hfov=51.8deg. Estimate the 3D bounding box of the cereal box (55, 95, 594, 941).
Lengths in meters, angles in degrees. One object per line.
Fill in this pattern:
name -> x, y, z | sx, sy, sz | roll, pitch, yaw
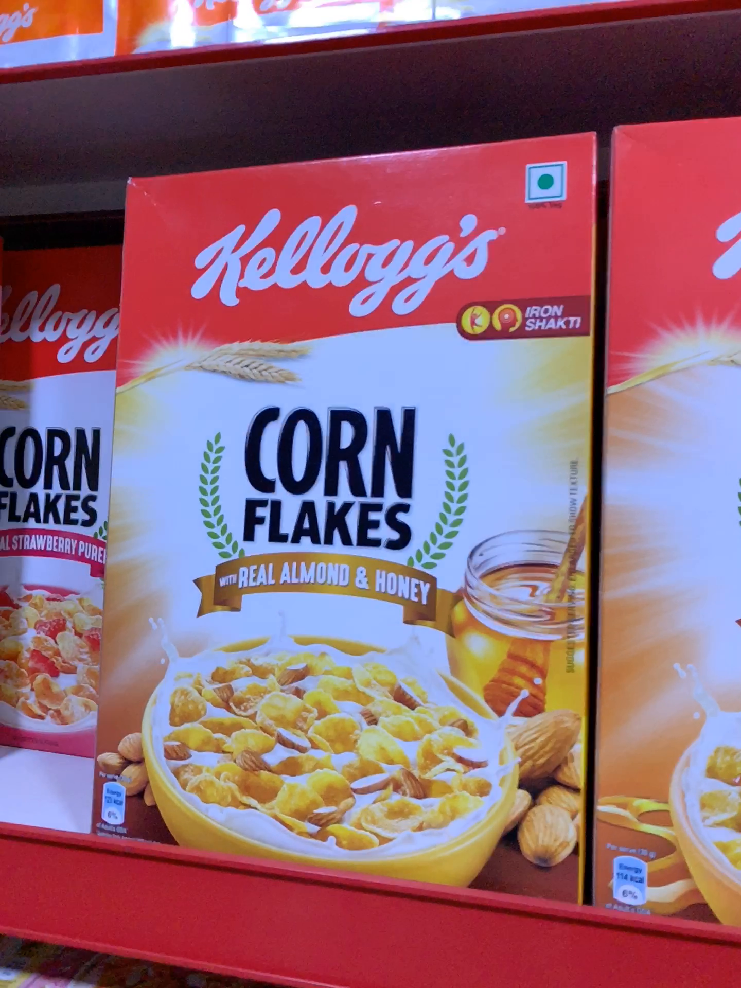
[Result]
cereal box -> -0.014, 0.004, 0.261 | 0.170, 0.230, 0.060 | 1, -1, 17
